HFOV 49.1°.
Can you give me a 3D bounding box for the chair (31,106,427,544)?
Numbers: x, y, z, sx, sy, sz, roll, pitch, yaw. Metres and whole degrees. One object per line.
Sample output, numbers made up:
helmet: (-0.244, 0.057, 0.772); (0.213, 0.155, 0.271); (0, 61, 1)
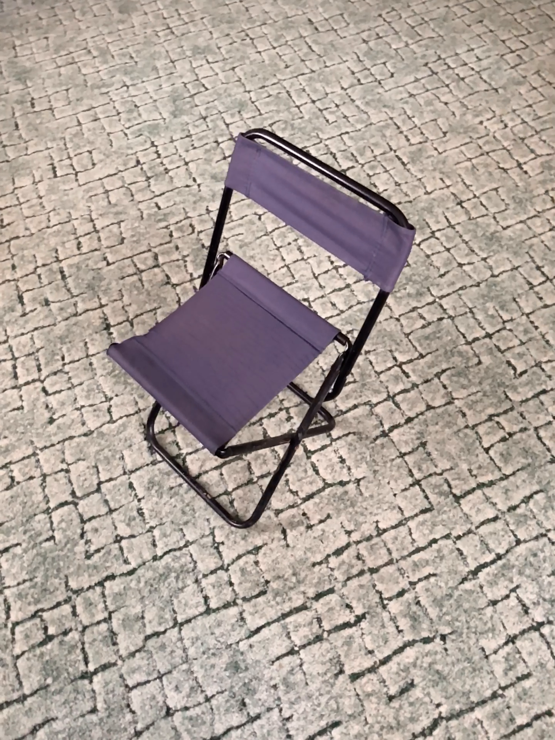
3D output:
chair: (-0.053, -0.044, 1.029); (0.342, 0.537, 0.399); (39, 67, 23)
